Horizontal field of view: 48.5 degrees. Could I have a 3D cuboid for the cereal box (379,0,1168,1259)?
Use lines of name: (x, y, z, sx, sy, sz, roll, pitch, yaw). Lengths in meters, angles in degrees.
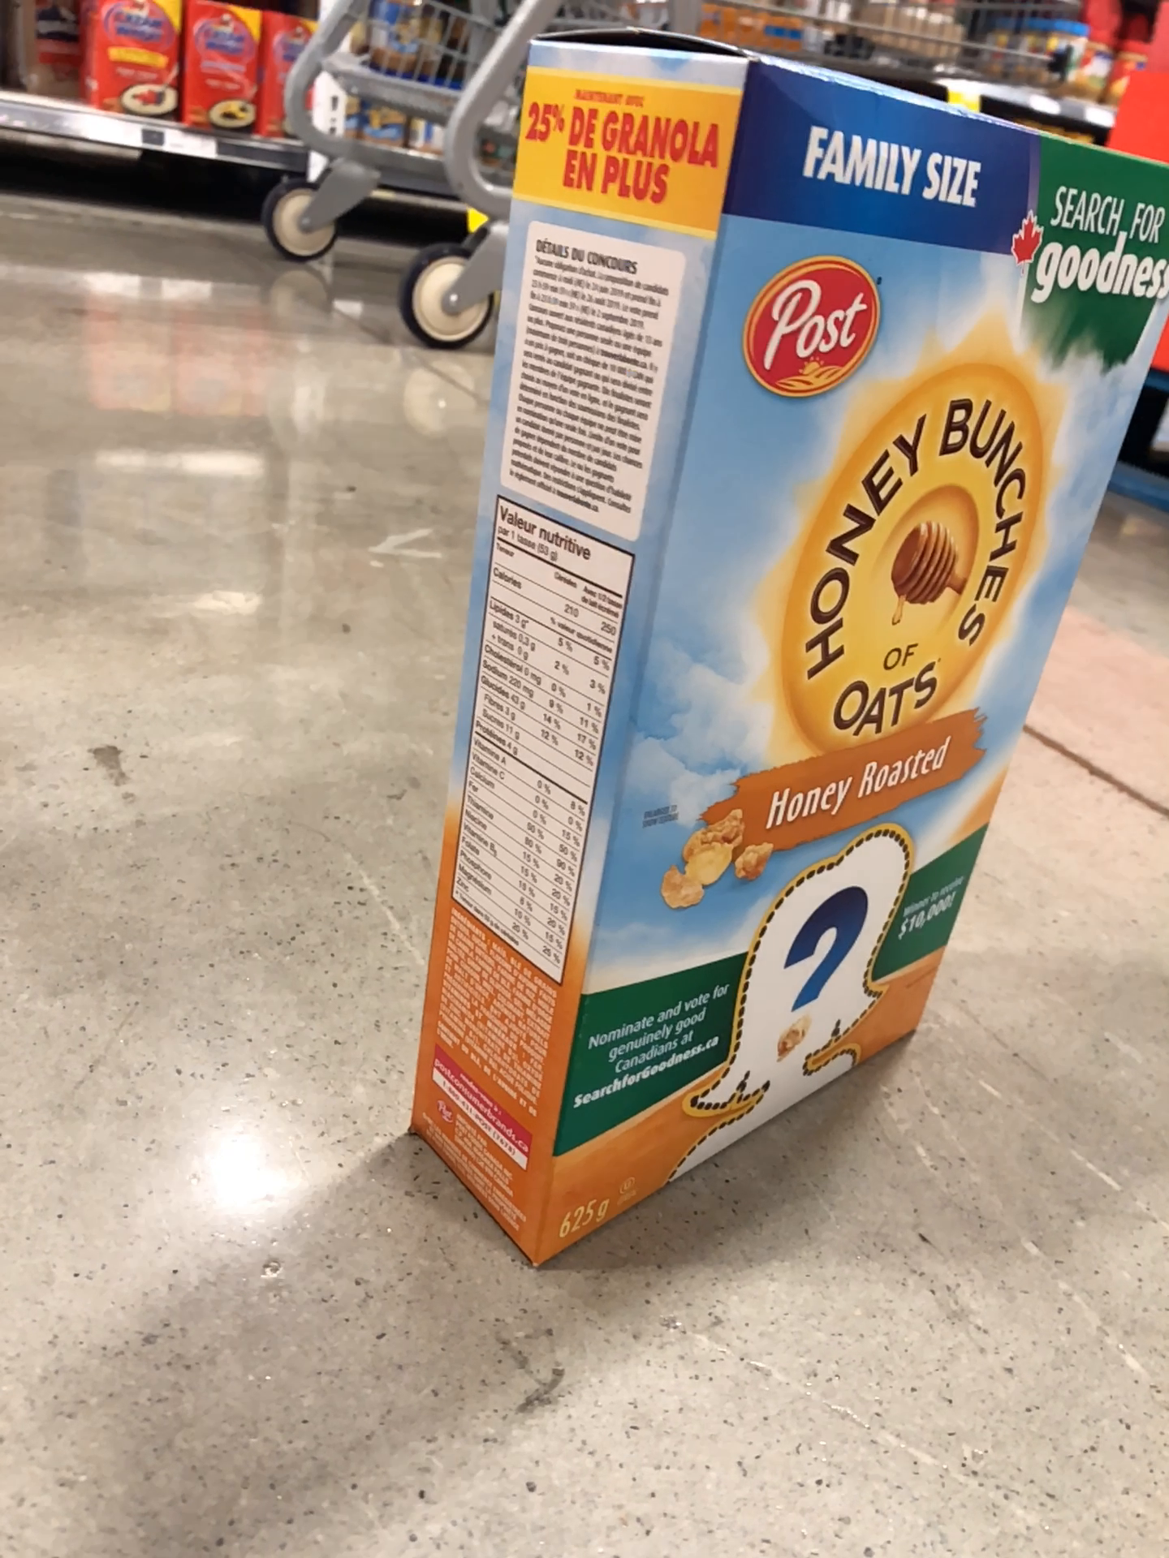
cereal box: (0.061, -0.040, 0.385, 0.211, 0.309, 0.070, -16, 36, -43)
